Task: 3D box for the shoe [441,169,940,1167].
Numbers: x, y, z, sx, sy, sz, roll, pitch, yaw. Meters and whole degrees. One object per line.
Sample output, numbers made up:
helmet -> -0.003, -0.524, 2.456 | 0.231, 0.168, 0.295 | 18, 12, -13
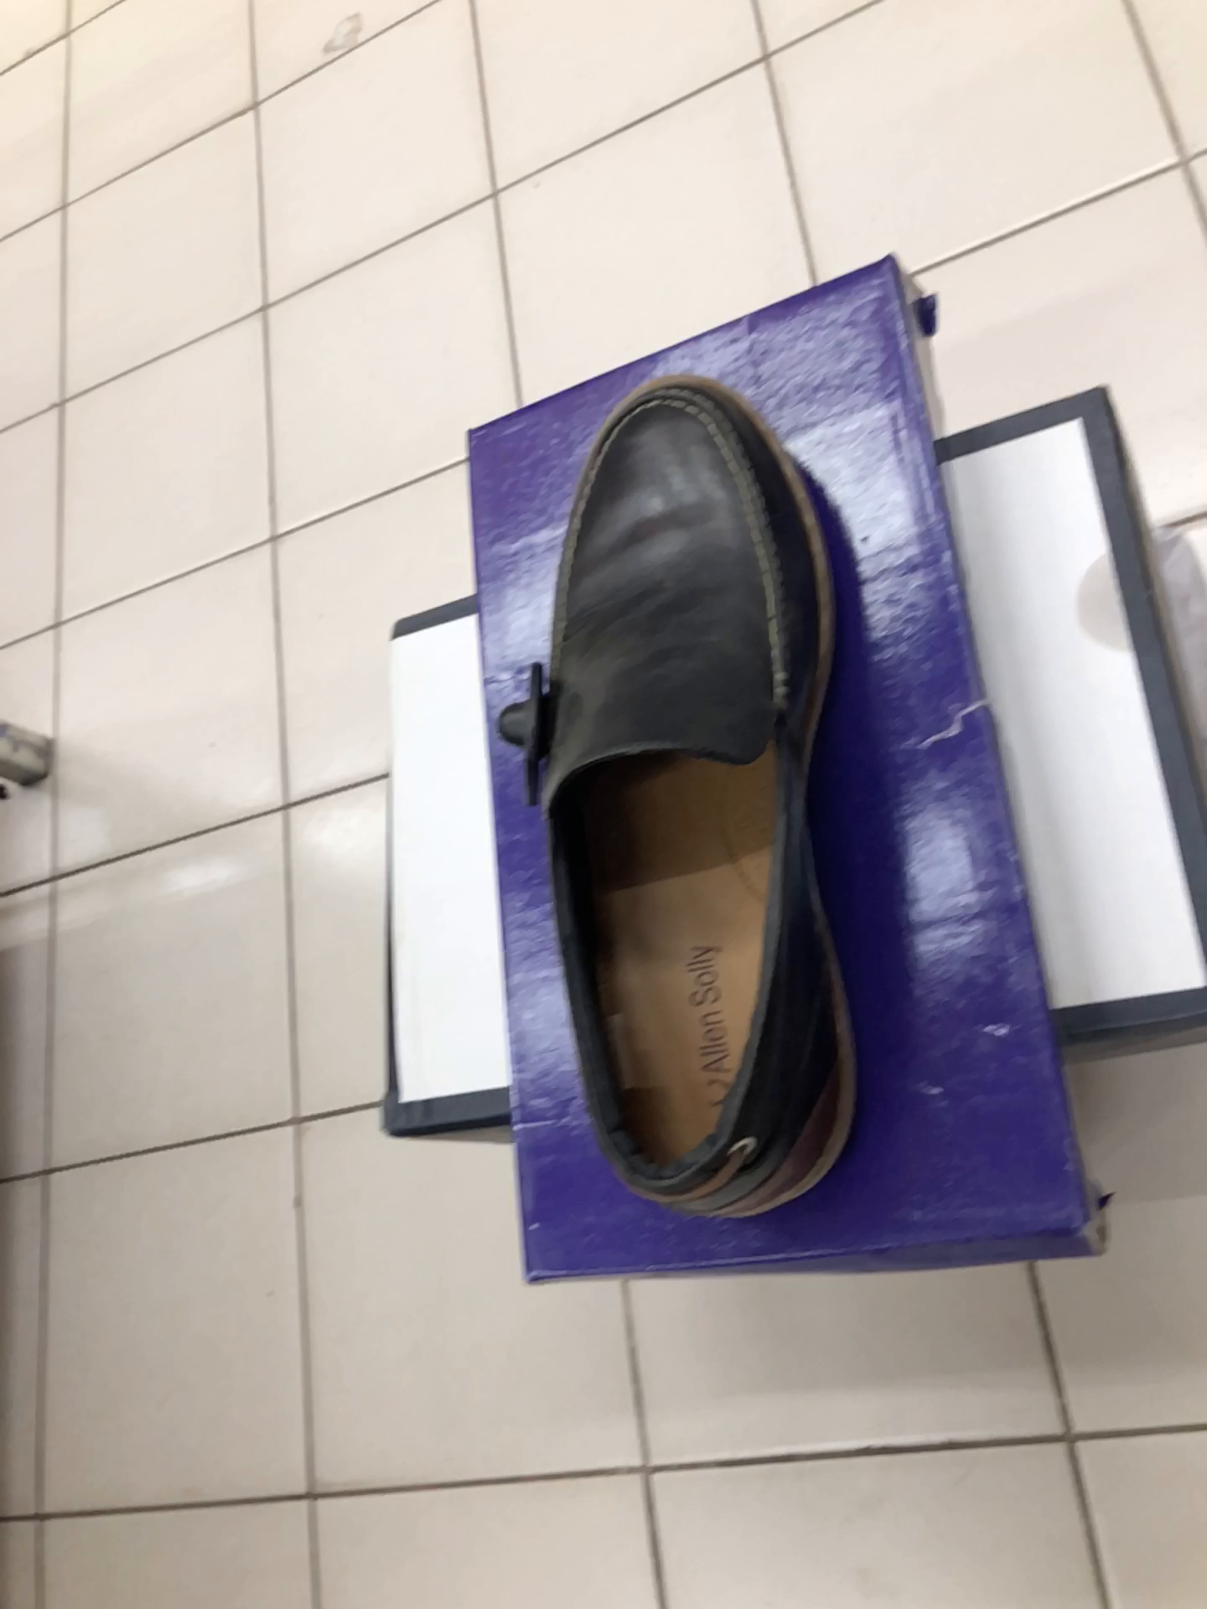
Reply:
shoe -> 0.025, -0.039, 0.449 | 0.100, 0.110, 0.301 | -14, 69, 23
